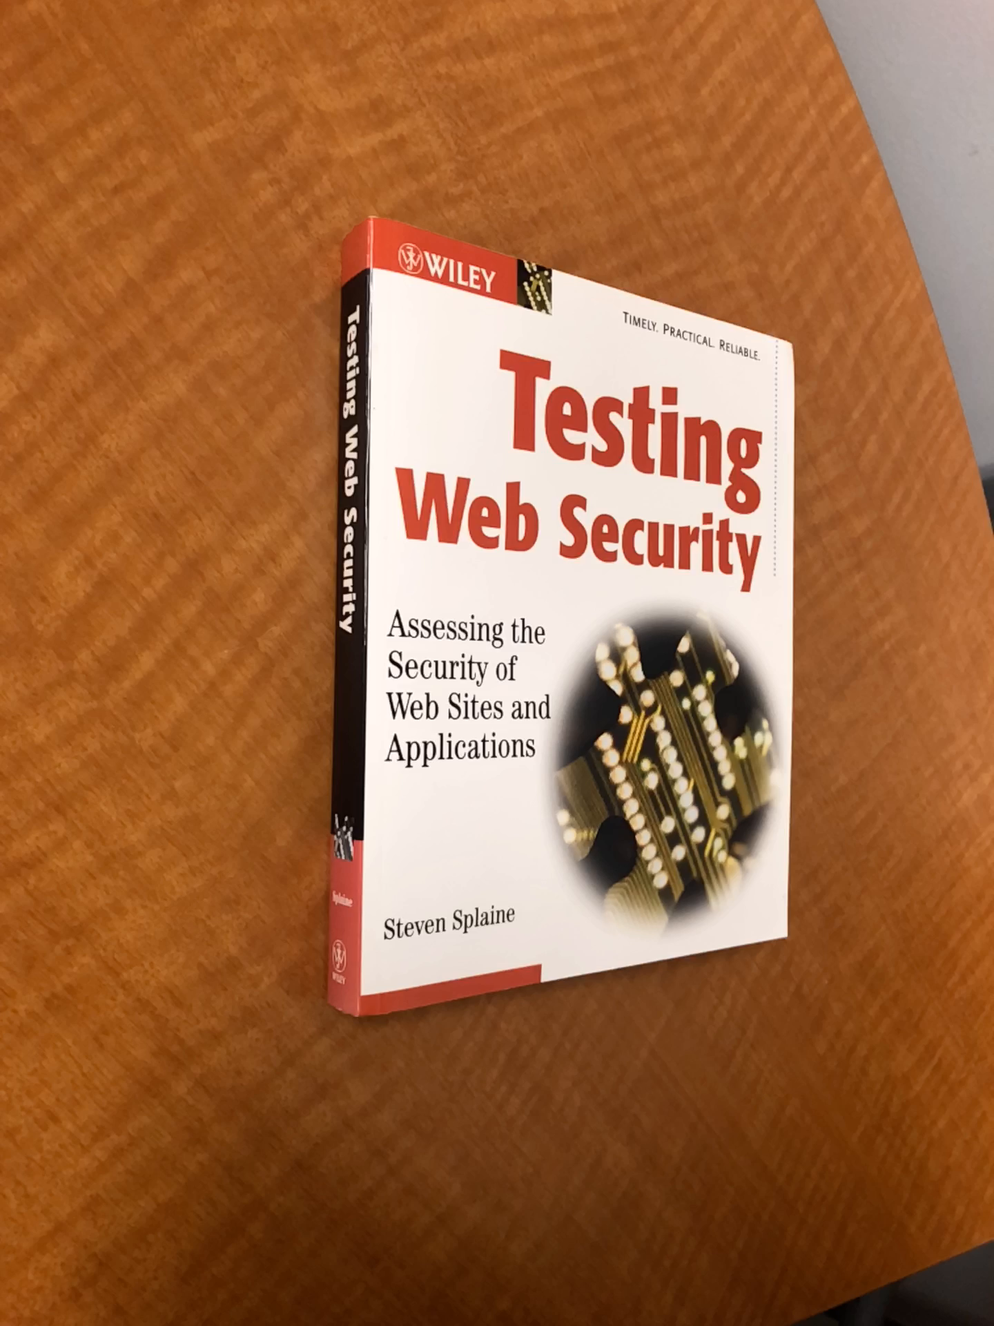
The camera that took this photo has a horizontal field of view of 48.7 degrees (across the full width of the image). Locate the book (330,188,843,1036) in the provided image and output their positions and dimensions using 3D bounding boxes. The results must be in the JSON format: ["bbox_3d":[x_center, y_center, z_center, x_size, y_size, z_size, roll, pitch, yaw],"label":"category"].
[{"bbox_3d":[0.042,-0.012,0.370,0.201,0.030,0.230,2,87,-37],"label":"book"}]
